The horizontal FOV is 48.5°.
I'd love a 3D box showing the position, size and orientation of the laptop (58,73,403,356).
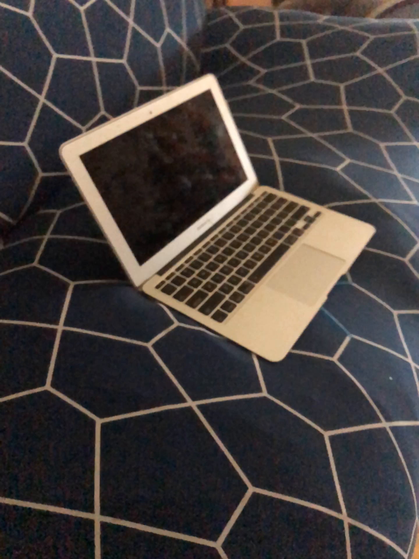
[{"bbox_3d":[0.037,-0.109,0.573,0.280,0.156,0.282,24,46,24],"label":"laptop"}]
